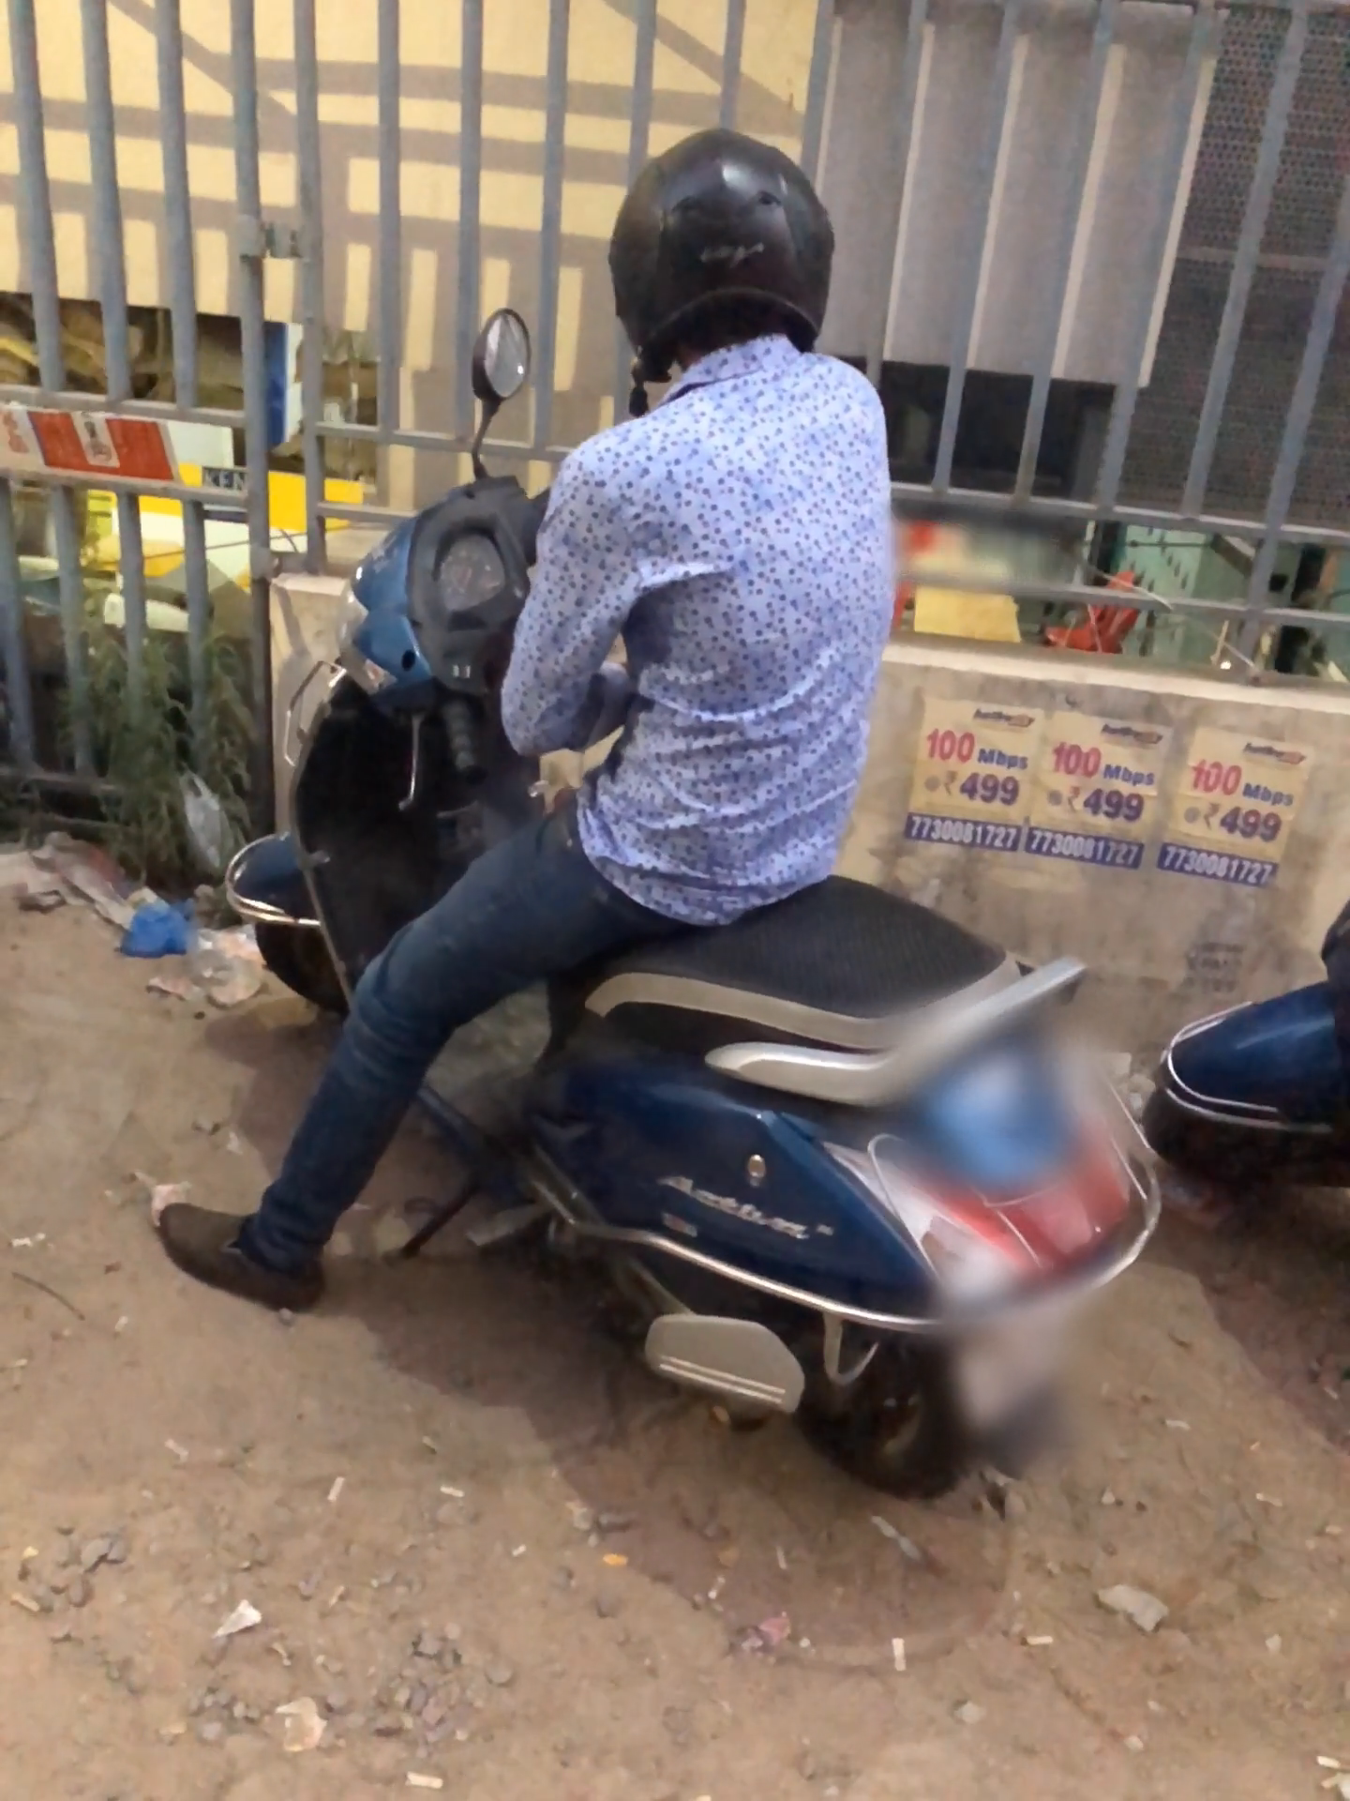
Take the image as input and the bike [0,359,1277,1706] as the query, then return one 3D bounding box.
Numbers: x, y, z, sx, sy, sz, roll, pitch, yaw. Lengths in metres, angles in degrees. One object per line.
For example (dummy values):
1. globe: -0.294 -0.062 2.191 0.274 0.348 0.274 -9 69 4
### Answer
1. bike: -0.164 0.025 2.023 1.472 1.131 0.618 27 32 32
